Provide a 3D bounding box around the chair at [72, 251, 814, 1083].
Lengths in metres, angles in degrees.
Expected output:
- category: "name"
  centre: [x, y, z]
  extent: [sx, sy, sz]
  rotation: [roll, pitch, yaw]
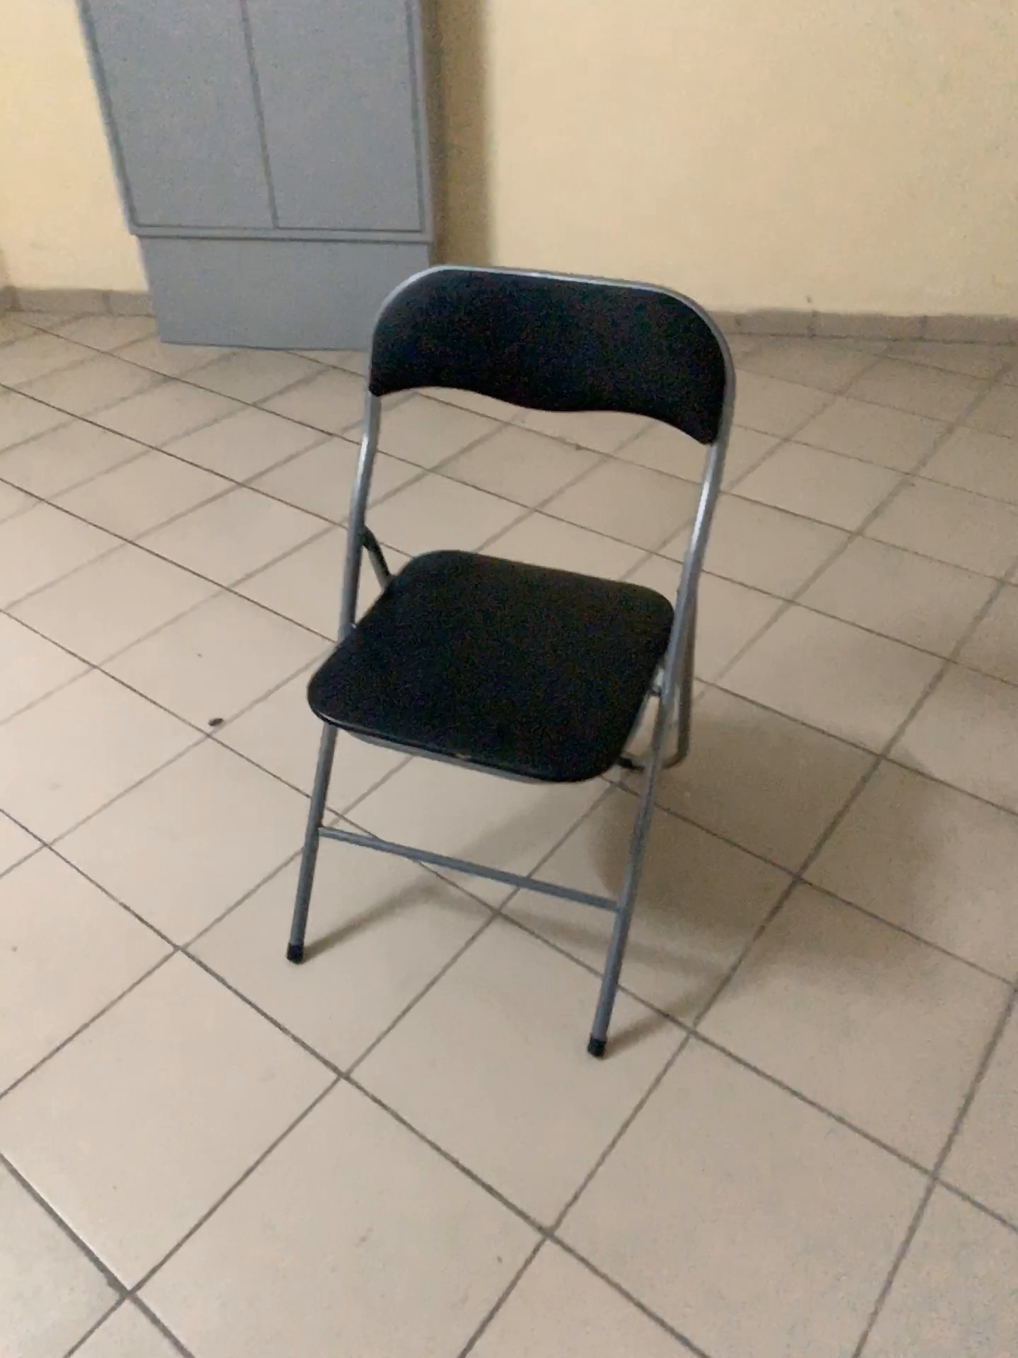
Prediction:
- category: "chair"
  centre: [-0.014, -0.039, 1.263]
  extent: [0.571, 0.726, 0.562]
  rotation: [12, 40, 16]
